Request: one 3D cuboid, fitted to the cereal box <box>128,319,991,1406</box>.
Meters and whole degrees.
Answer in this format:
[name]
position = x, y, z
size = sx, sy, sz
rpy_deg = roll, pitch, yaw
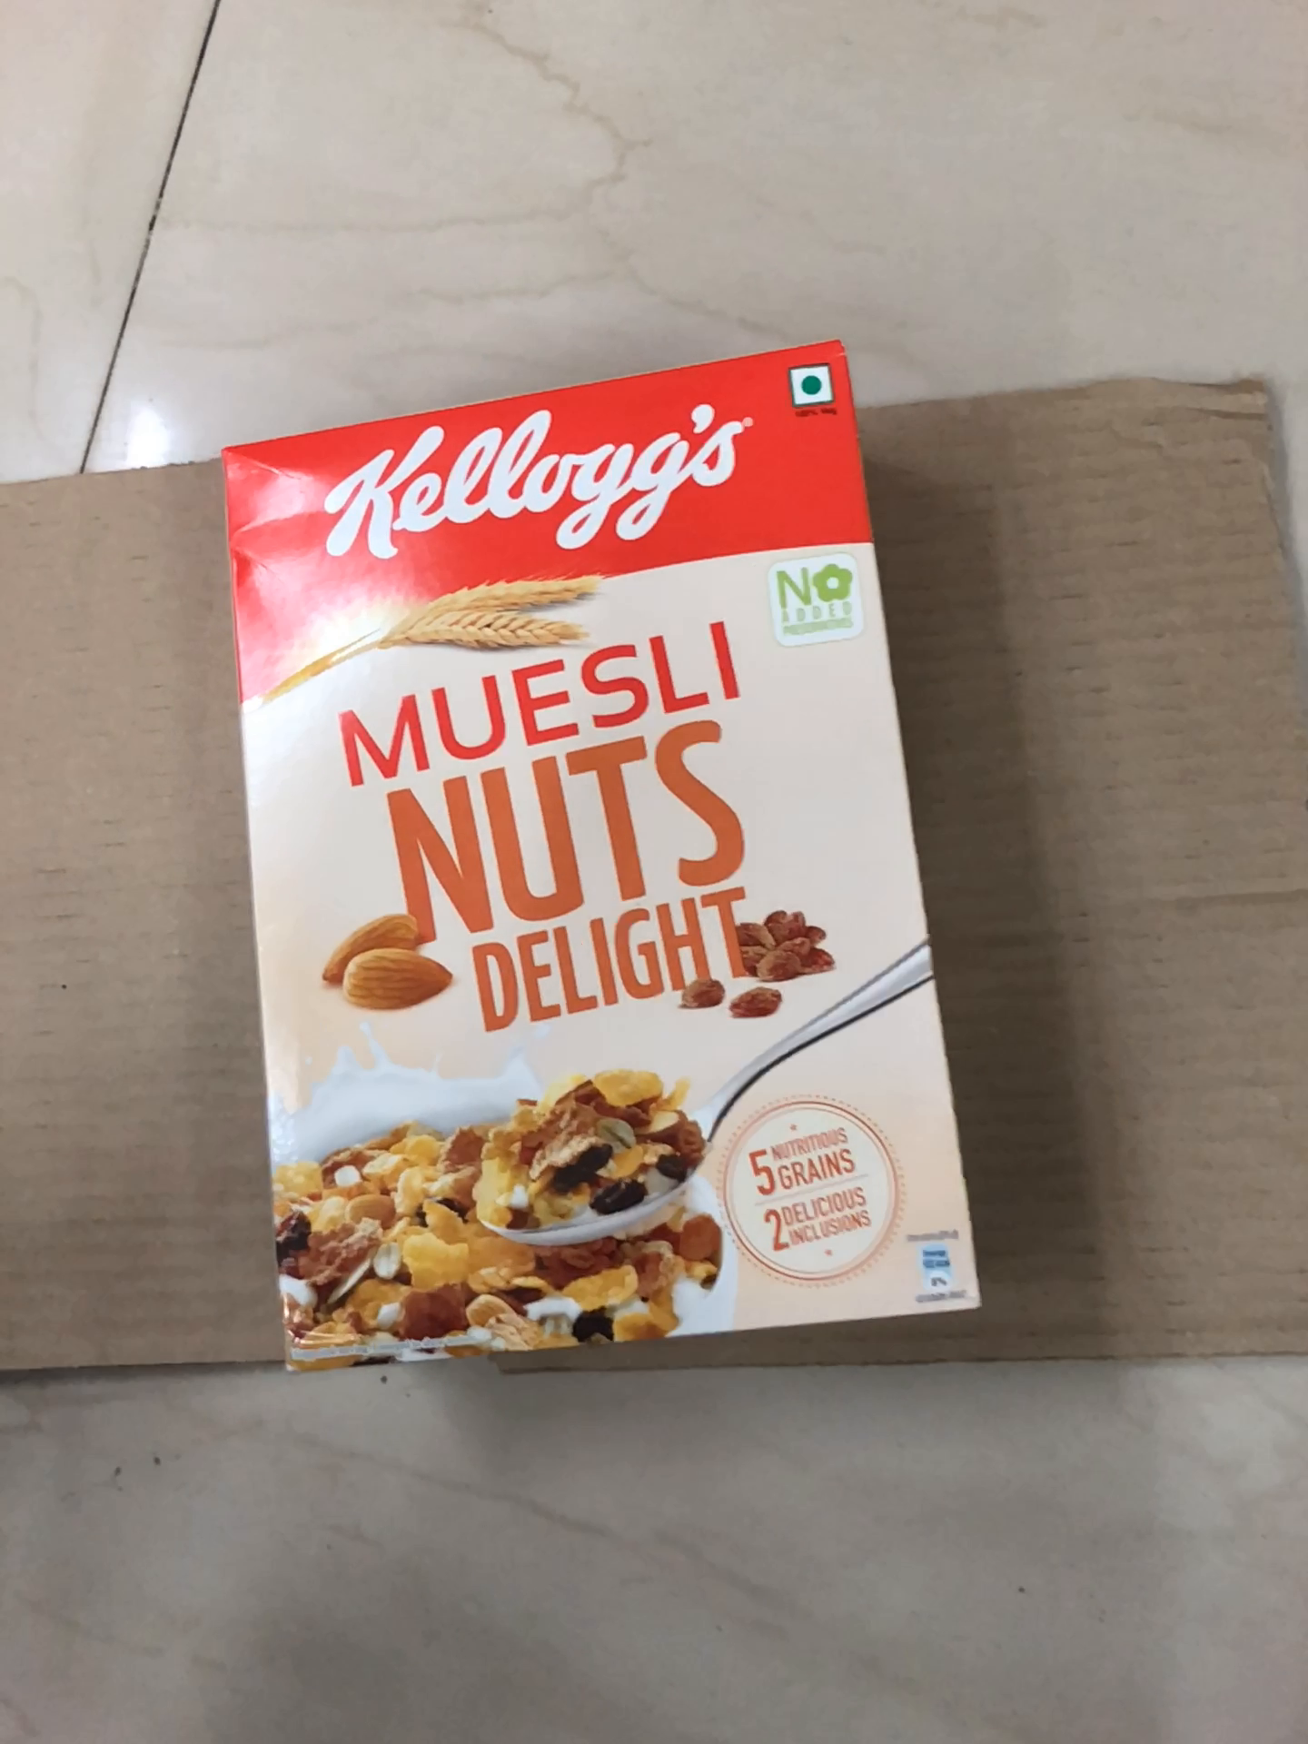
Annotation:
[cereal box]
position = -0.025, 0.000, 0.404
size = 0.190, 0.080, 0.250
rpy_deg = -8, 85, 6
